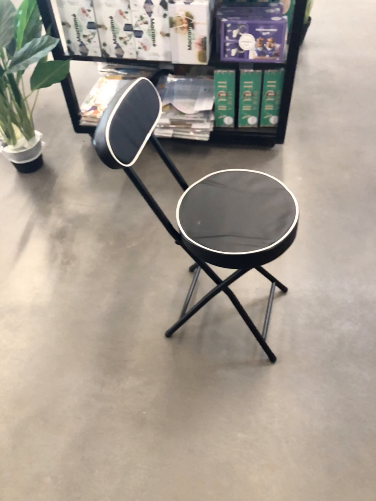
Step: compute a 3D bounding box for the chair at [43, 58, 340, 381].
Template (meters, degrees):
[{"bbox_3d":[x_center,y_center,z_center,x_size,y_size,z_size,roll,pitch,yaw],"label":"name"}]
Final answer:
[{"bbox_3d":[0.040,-0.032,1.099,0.510,0.756,0.342,11,51,12],"label":"chair"}]
